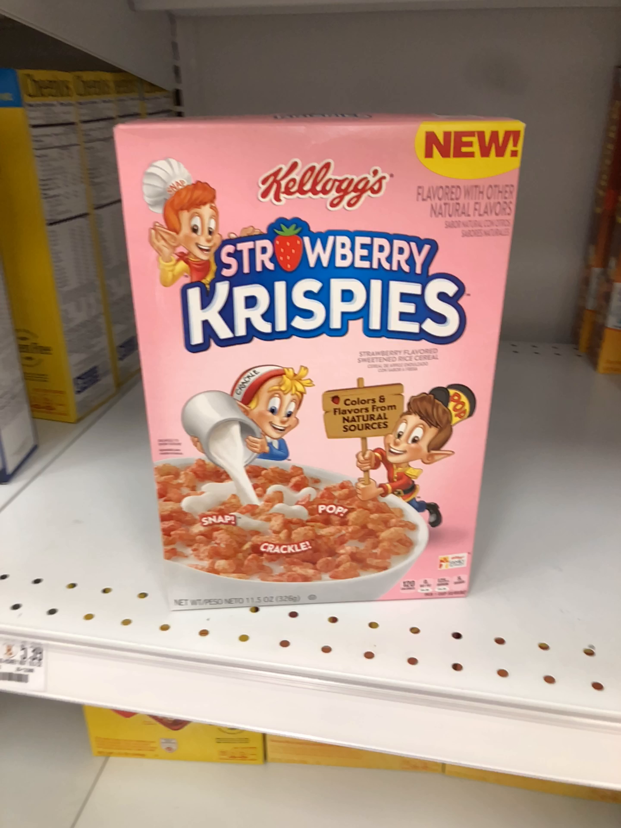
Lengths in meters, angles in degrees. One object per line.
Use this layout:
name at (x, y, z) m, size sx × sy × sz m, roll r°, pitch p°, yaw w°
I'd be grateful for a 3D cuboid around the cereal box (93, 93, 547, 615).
cereal box at (0.007, -0.022, 0.400) m, size 0.200 × 0.289 × 0.070 m, roll -3°, pitch 28°, yaw -2°
